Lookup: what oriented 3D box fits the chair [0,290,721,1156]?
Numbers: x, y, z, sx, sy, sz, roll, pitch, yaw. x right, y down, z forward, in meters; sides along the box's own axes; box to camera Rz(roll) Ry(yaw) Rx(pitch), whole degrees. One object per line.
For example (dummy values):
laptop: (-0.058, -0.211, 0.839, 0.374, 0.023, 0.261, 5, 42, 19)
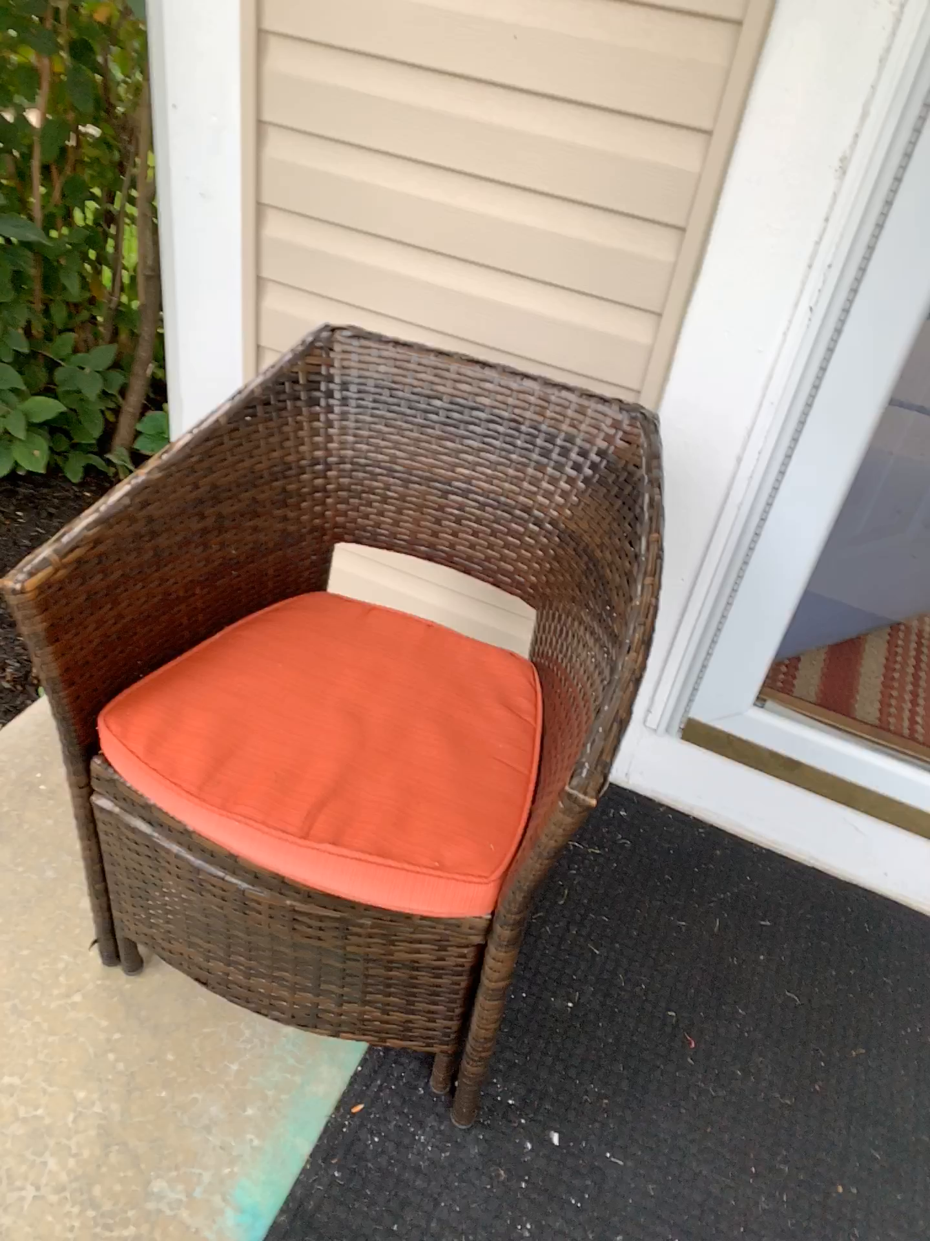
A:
chair: (-0.125, 0.103, 1.227, 0.641, 0.757, 0.610, 17, 37, 10)
